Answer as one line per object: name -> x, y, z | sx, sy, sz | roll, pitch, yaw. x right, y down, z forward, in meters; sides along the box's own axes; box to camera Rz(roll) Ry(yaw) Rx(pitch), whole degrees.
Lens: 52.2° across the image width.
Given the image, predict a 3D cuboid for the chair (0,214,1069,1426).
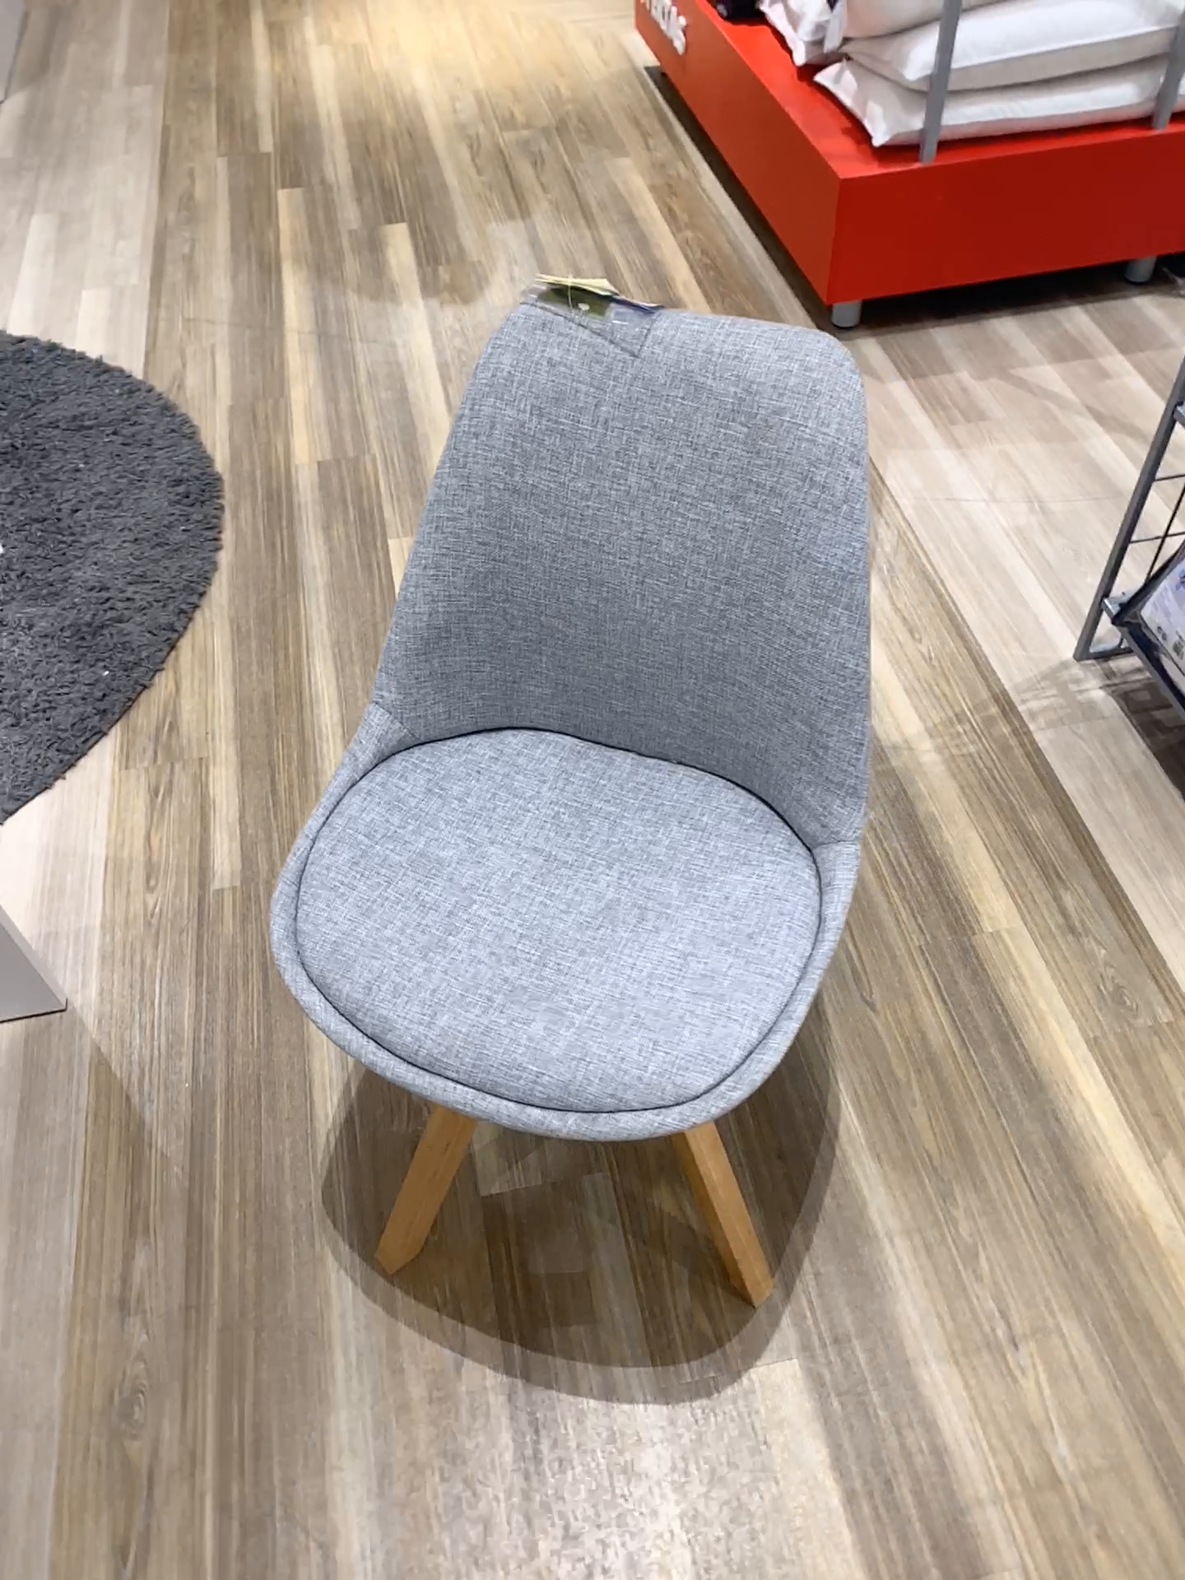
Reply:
chair -> 0.003, 0.080, 1.045 | 0.514, 0.856, 0.517 | 15, 52, 15
